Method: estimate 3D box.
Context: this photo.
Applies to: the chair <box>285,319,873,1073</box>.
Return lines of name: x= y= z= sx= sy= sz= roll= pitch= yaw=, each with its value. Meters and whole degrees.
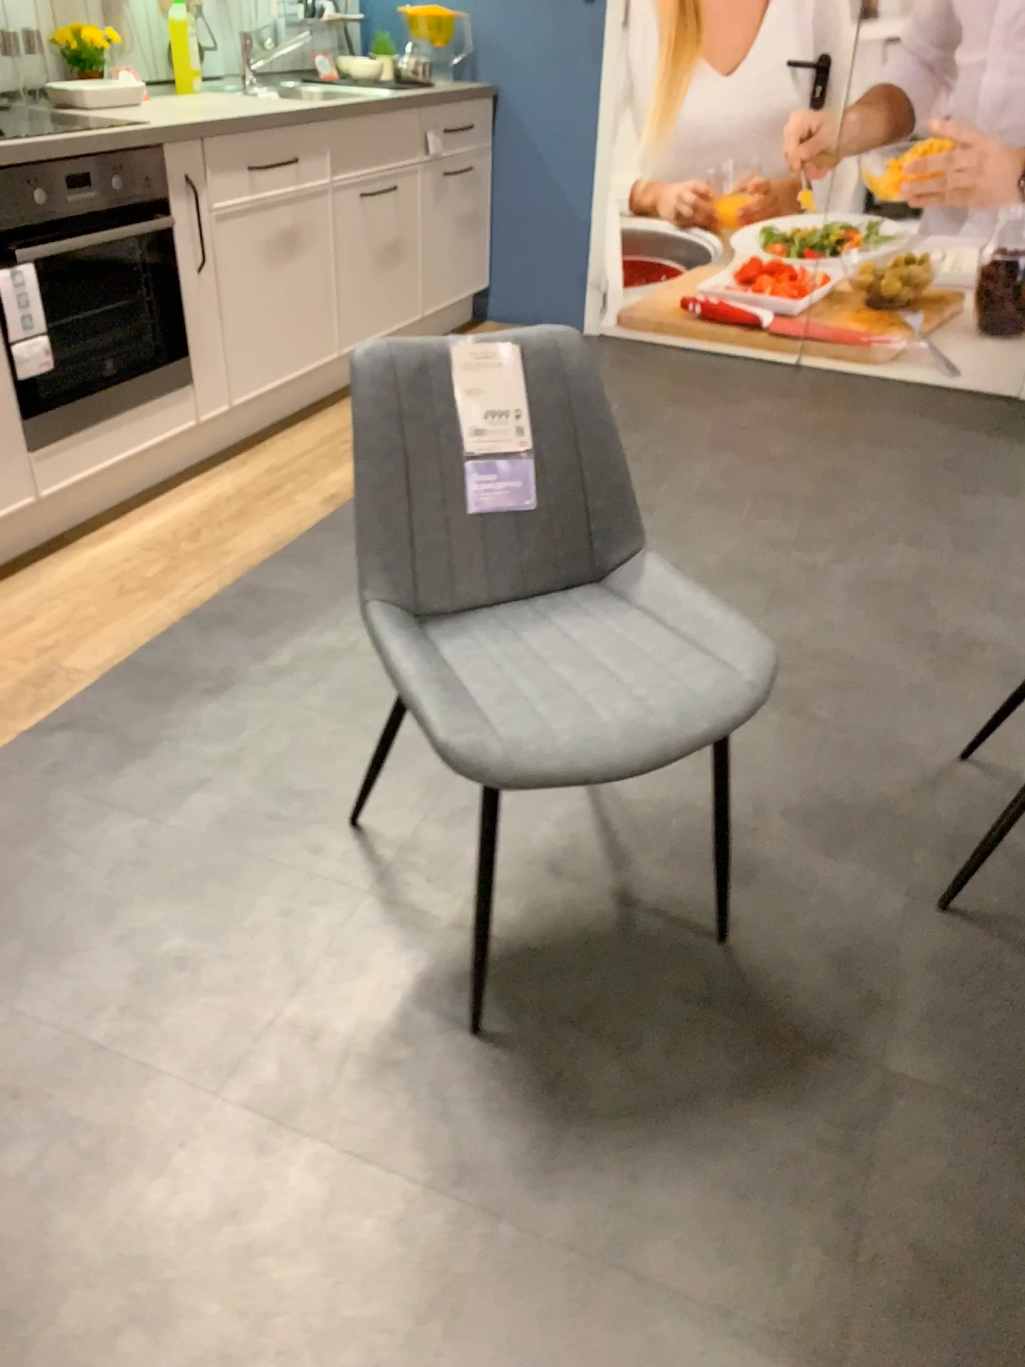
chair: x=0.035 y=-0.015 z=1.555 sx=0.523 sy=0.833 sz=0.591 roll=-13 pitch=36 yaw=-23
